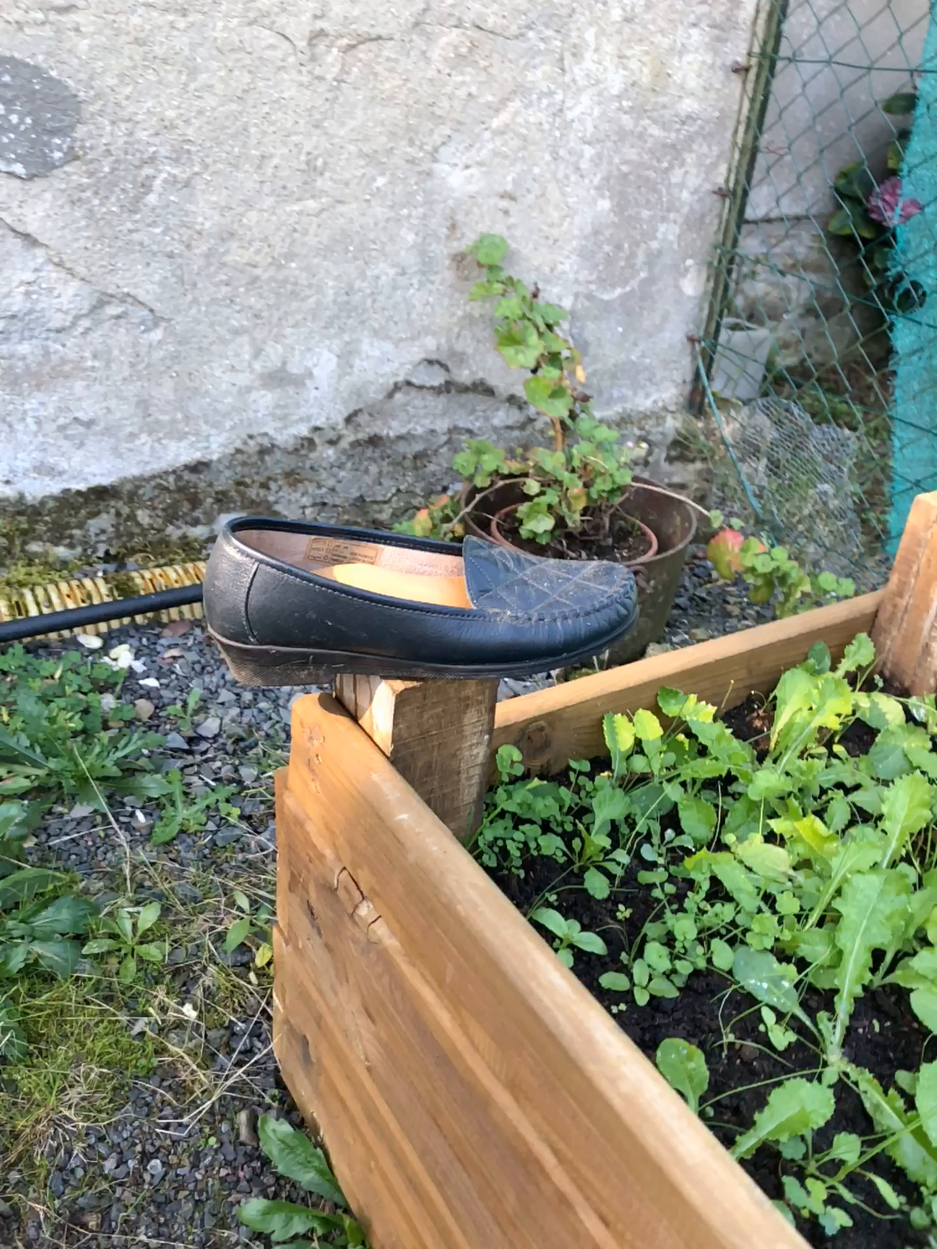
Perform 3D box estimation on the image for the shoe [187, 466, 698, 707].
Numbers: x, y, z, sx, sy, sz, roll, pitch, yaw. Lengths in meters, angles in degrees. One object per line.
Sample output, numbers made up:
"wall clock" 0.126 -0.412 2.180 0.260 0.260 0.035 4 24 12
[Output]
"shoe" -0.015 -0.026 0.587 0.260 0.089 0.101 -3 31 -4
